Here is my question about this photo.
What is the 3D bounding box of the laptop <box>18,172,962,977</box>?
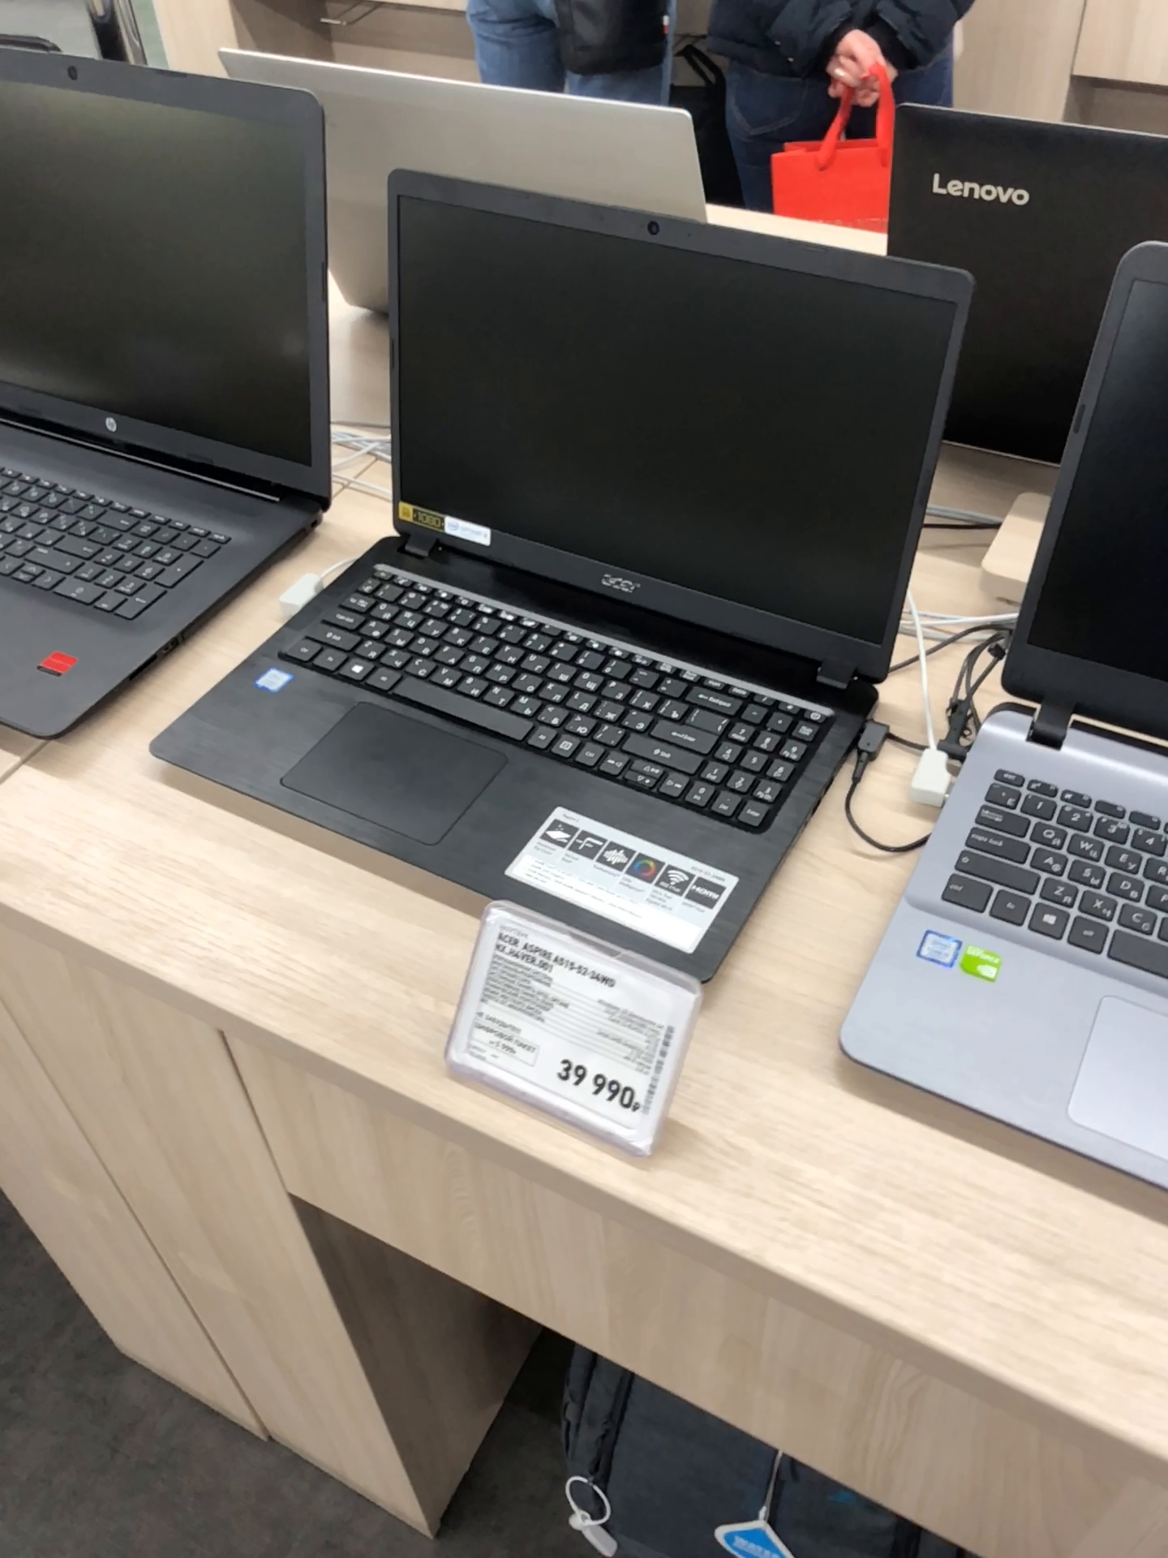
[{"bbox_3d":[-0.031,-0.133,0.681,0.346,0.219,0.292,20,49,22],"label":"laptop"}]

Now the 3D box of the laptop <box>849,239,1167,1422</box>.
[{"bbox_3d":[0.334,-0.017,0.519,0.327,0.219,0.325,20,51,24],"label":"laptop"}]

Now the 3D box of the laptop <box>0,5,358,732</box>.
[{"bbox_3d":[-0.401,-0.285,0.821,0.353,0.226,0.346,18,50,17],"label":"laptop"}]
